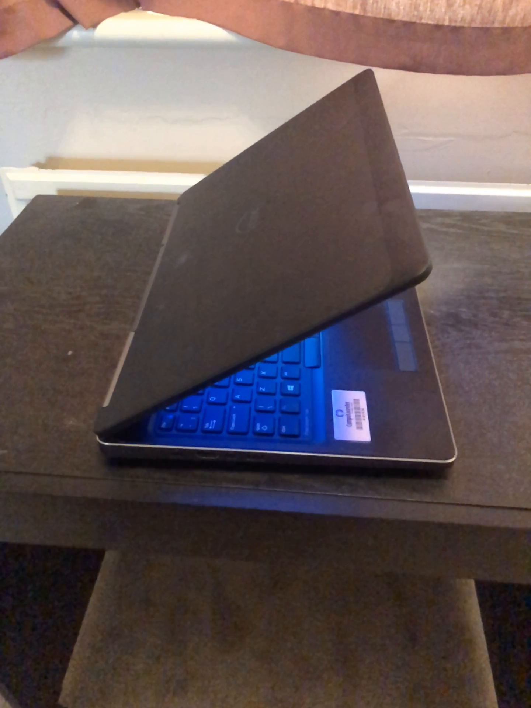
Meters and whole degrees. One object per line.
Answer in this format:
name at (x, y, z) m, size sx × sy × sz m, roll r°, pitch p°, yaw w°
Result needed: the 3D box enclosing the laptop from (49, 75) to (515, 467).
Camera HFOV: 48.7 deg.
laptop at (0.015, -0.104, 0.487) m, size 0.243 × 0.134 × 0.365 m, roll 2°, pitch 40°, yaw 3°
